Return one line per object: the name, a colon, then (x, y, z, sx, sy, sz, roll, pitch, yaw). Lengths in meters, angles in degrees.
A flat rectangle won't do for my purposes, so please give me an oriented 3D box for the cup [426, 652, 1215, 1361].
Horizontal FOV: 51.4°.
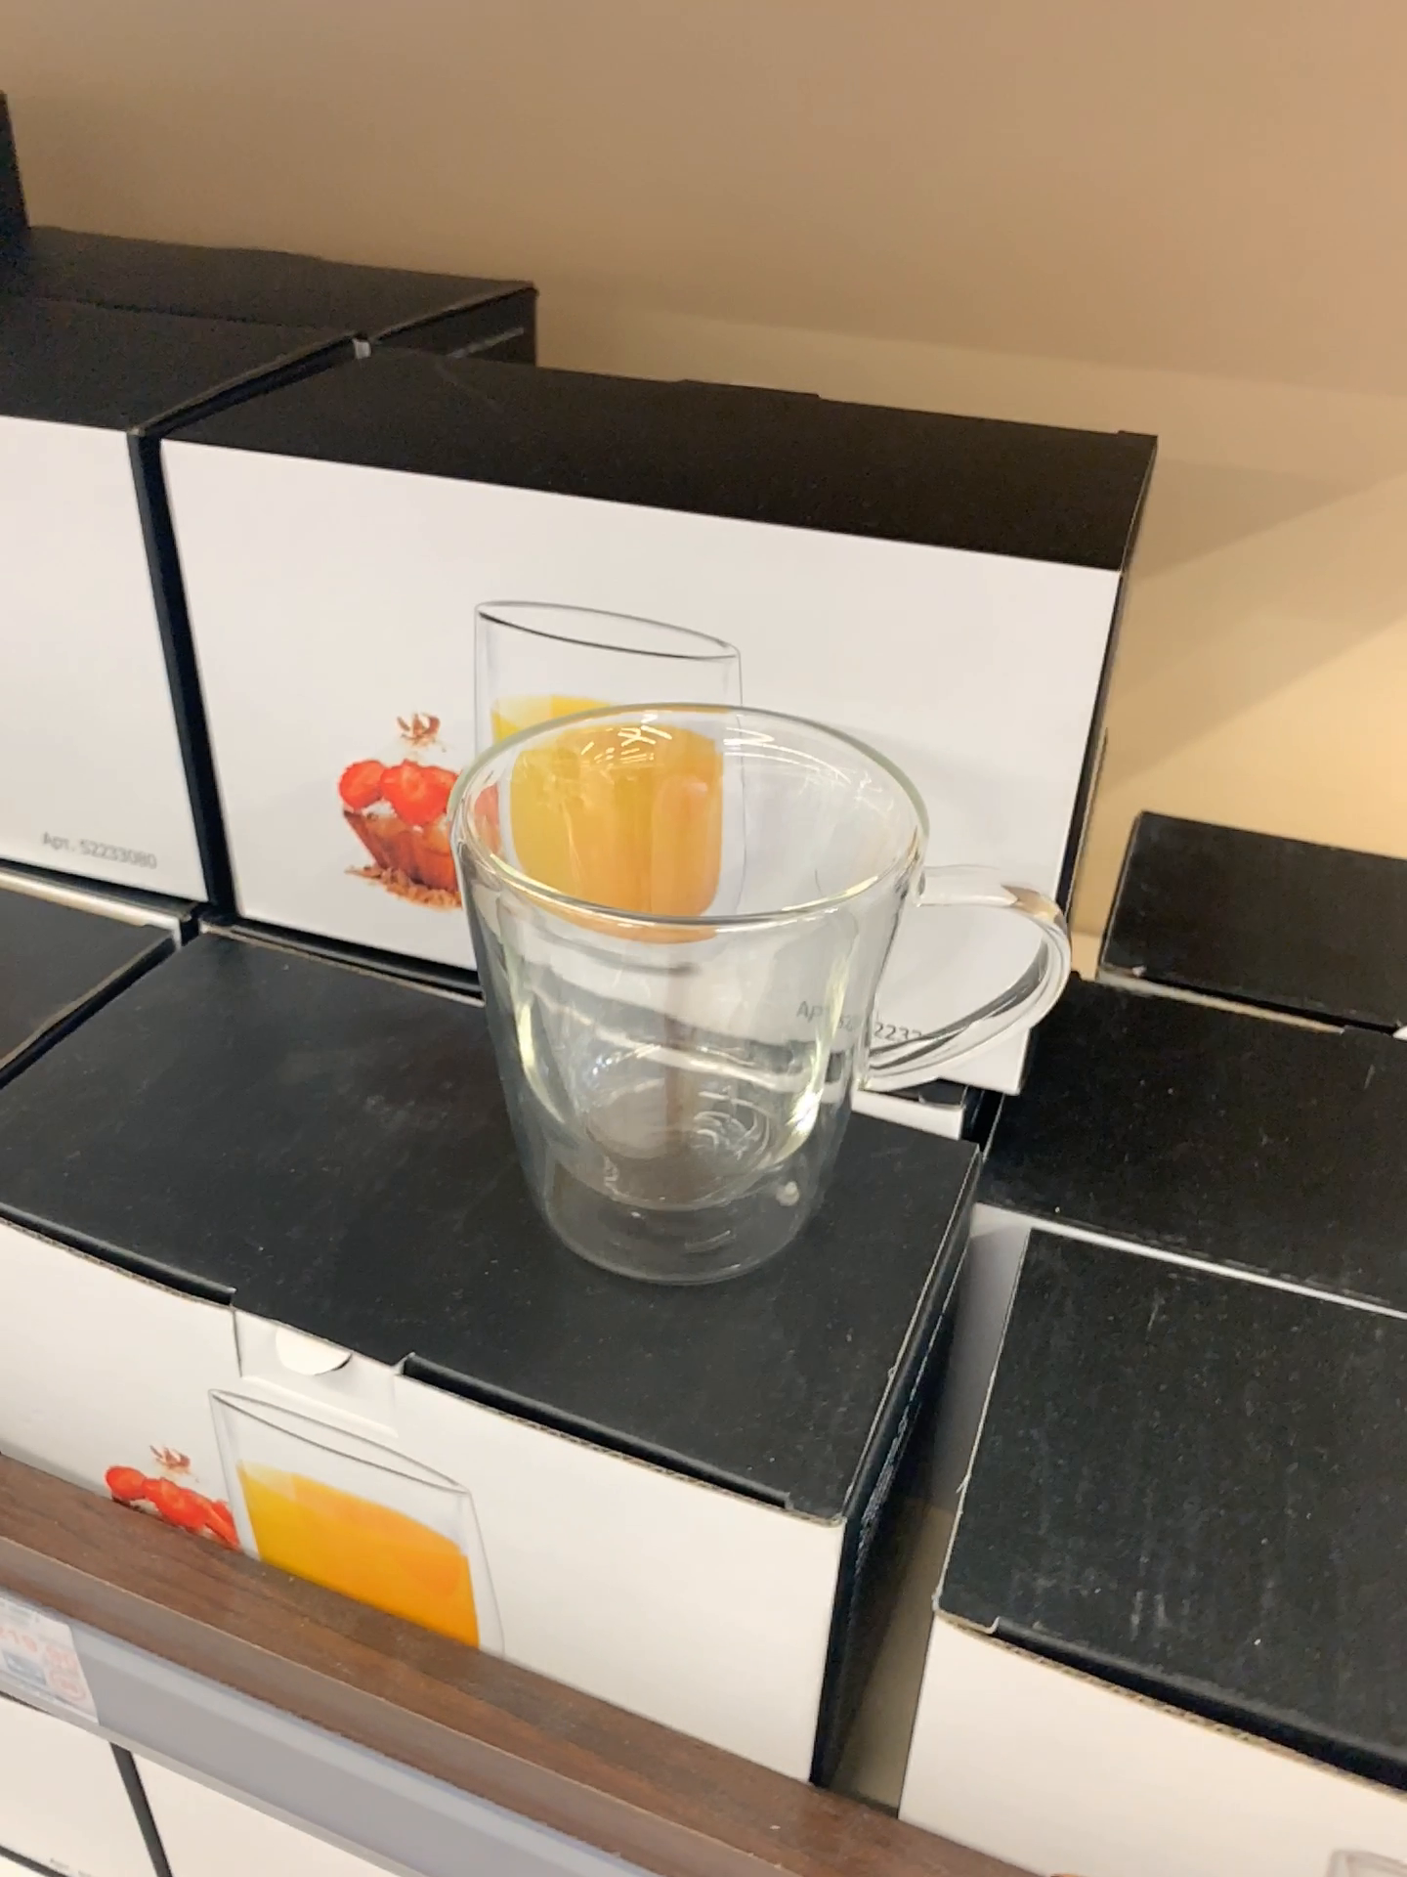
cup: (0.012, 0.008, 0.256, 0.110, 0.090, 0.070, -5, 34, -11)
